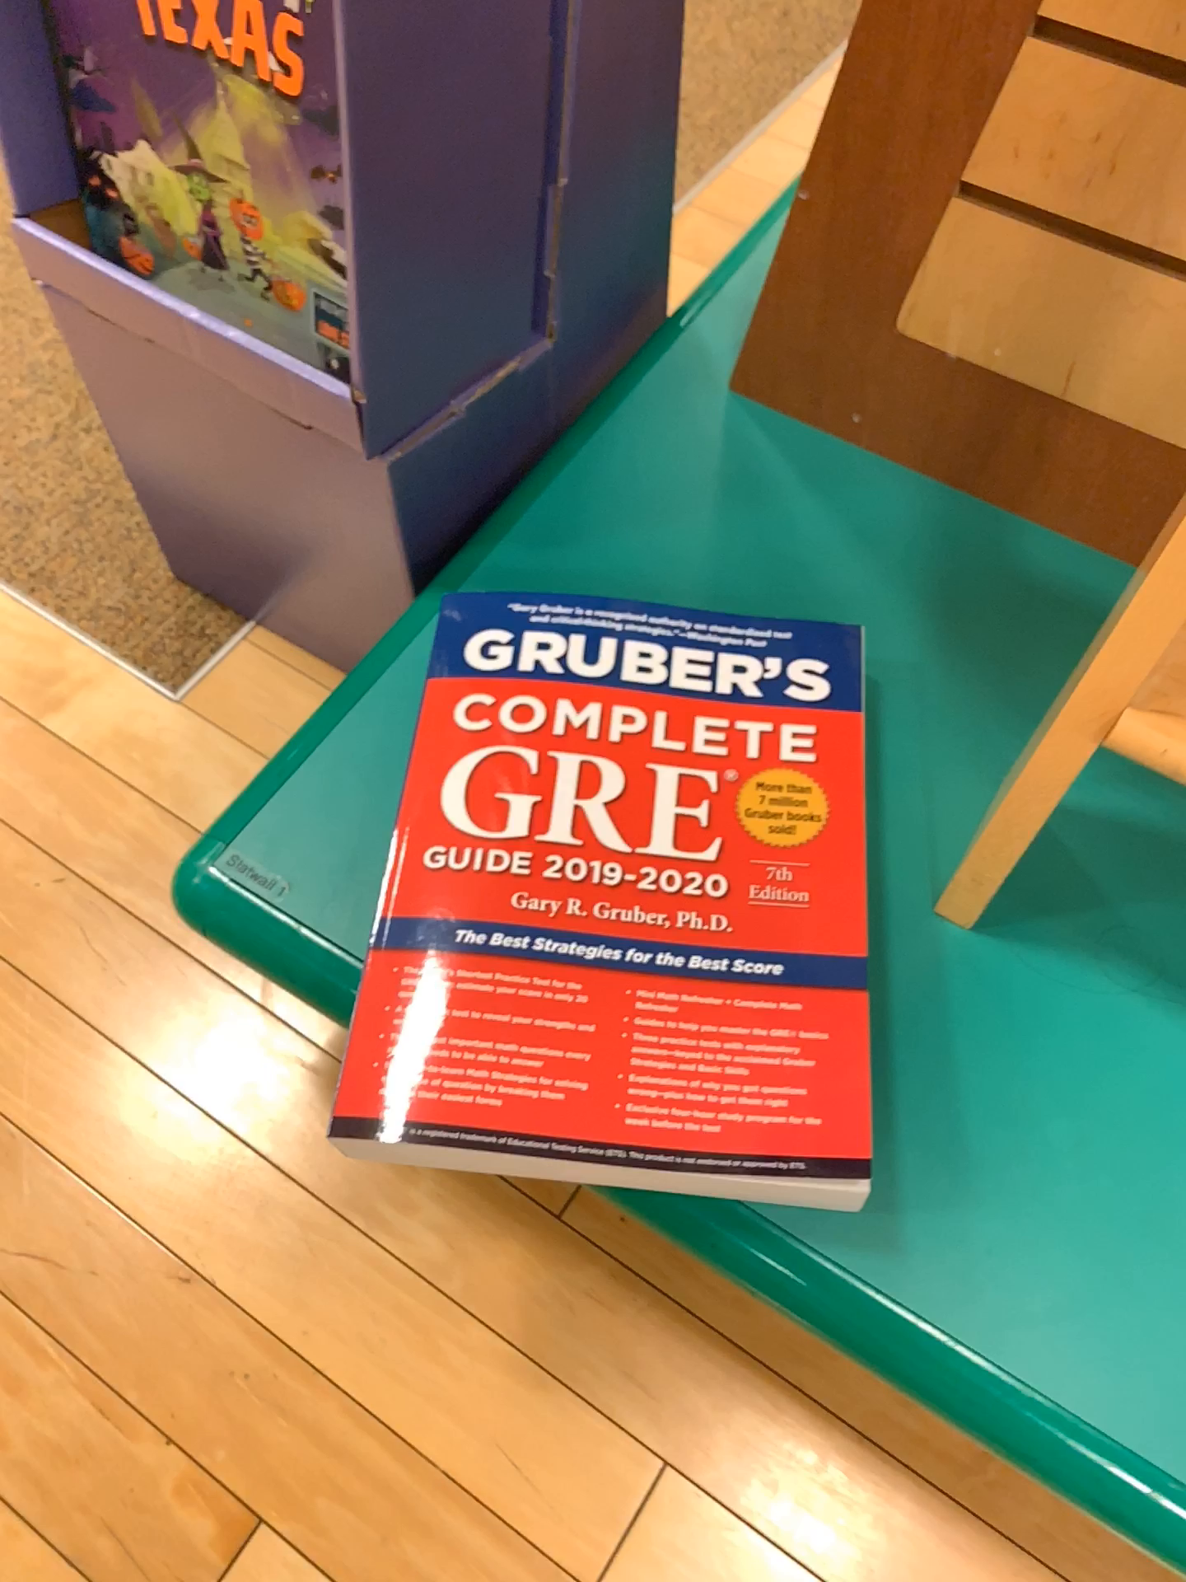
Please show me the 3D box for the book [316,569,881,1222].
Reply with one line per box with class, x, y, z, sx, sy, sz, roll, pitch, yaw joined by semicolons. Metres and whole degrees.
book;0.016;0.032;0.563;0.220;0.040;0.291;5;60;3
